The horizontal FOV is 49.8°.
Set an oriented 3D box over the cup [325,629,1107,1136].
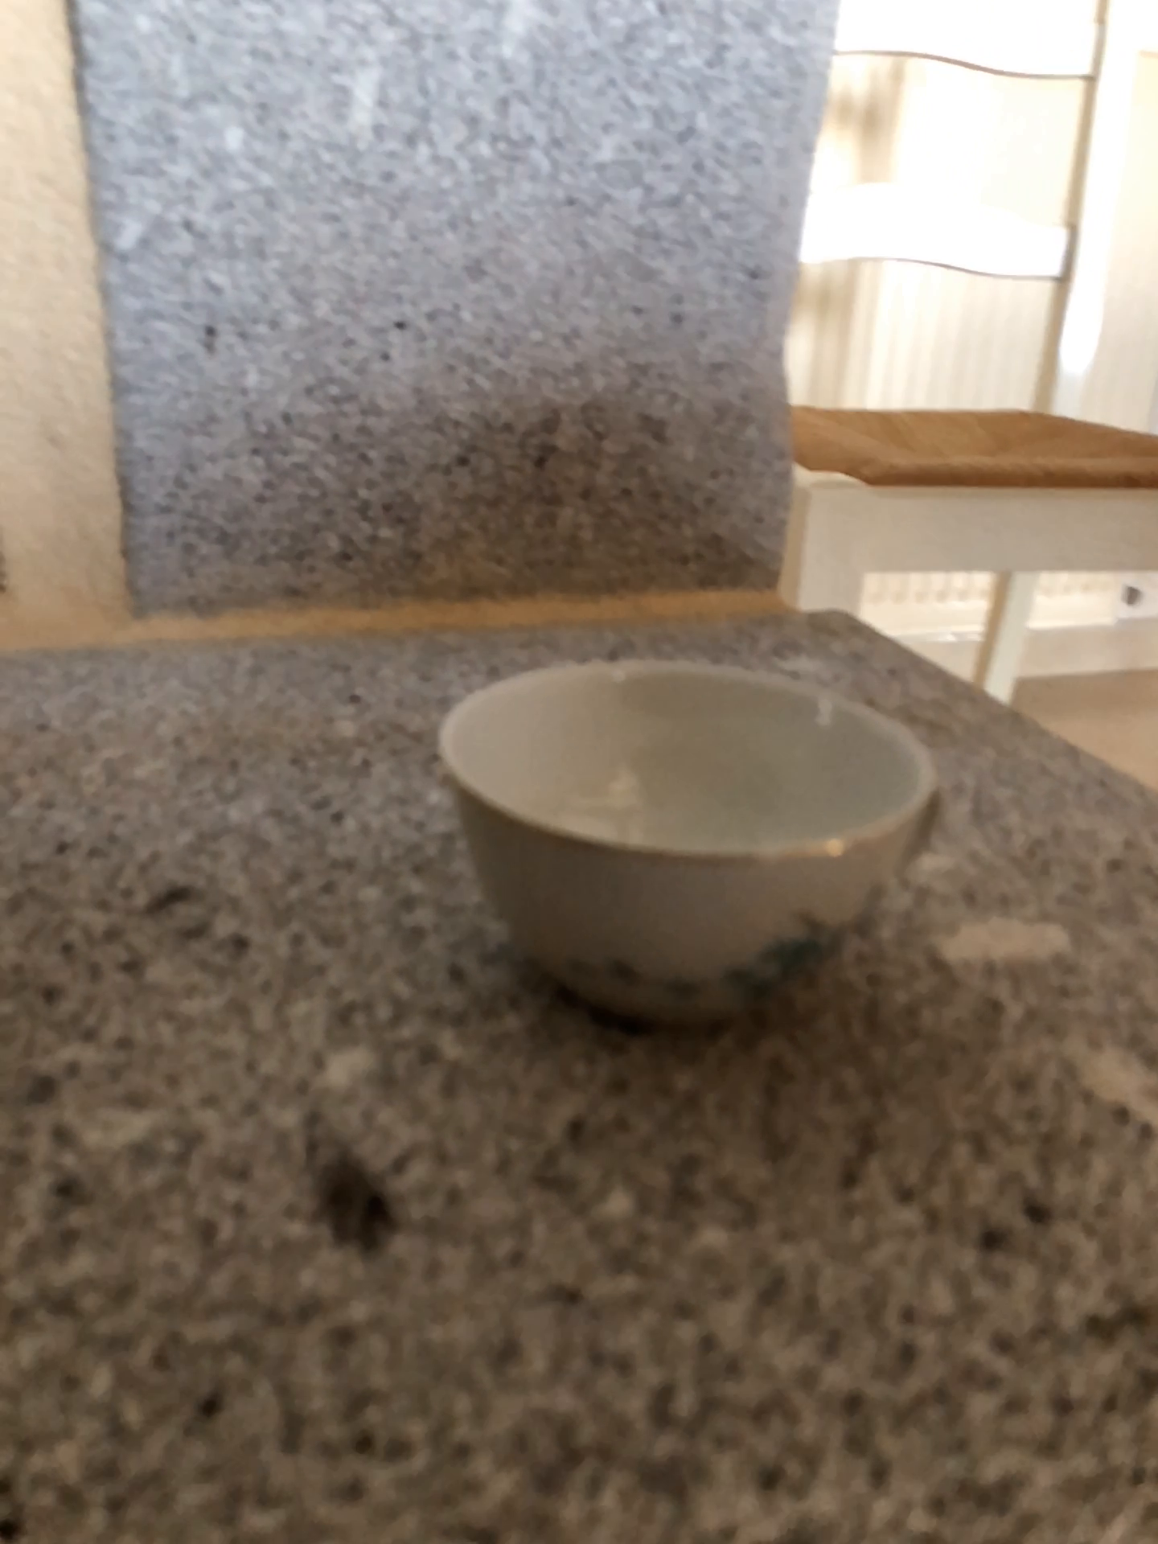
[{"bbox_3d":[0.020,0.010,0.233,0.110,0.040,0.090,-9,25,-26],"label":"cup"}]
